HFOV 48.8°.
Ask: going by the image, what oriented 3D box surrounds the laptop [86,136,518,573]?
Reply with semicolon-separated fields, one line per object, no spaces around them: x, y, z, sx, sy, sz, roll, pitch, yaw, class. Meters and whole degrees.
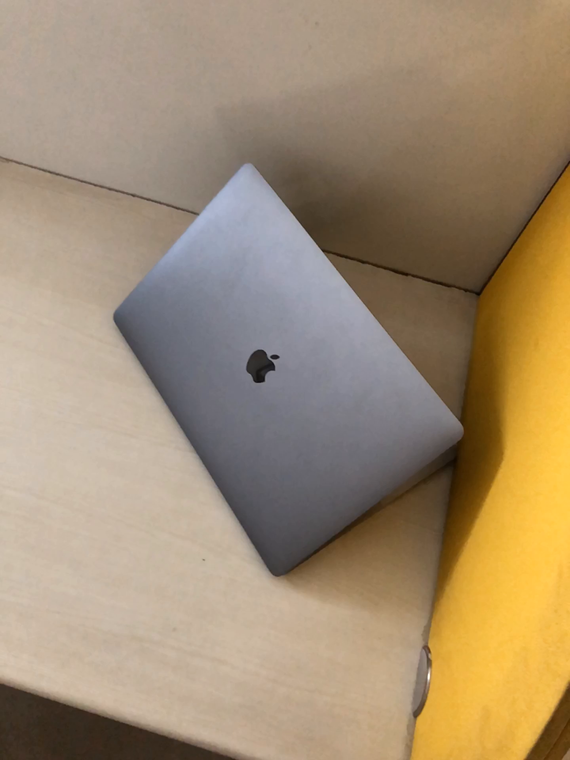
0.003;-0.031;0.634;0.236;0.152;0.345;-30;72;-17;laptop
